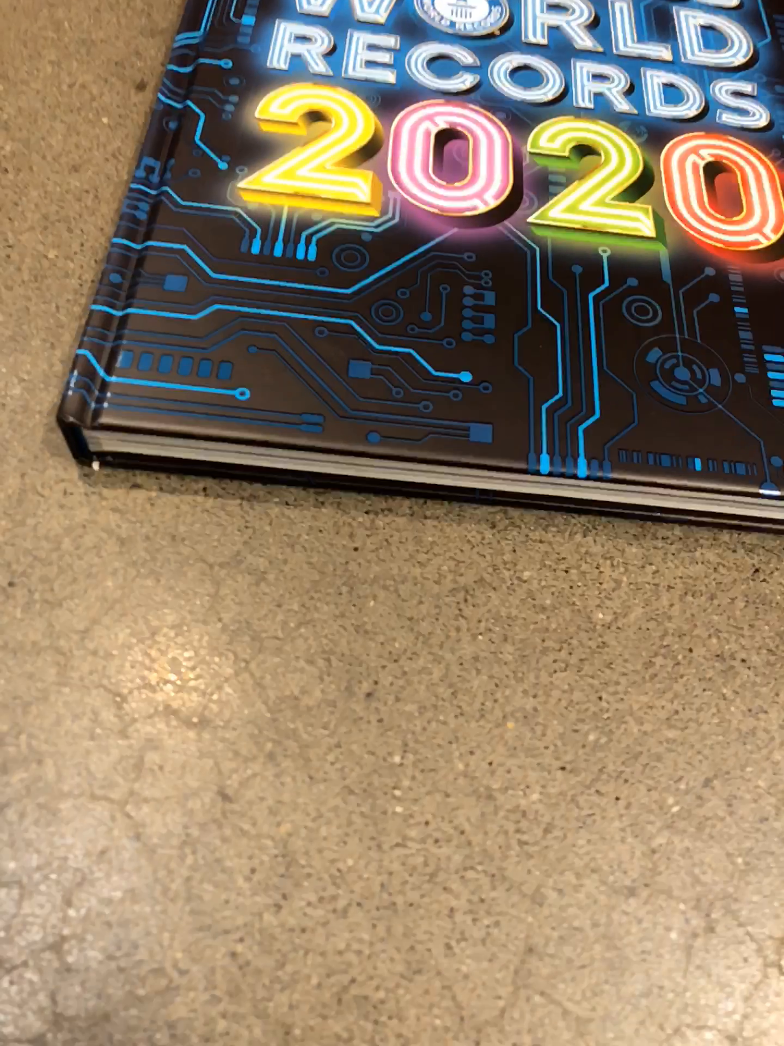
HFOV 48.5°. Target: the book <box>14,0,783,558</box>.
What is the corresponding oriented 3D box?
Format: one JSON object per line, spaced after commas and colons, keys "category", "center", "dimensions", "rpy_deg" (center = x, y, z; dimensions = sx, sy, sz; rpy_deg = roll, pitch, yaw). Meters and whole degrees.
{"category": "book", "center": [0.037, -0.145, 0.305], "dimensions": [0.240, 0.030, 0.312], "rpy_deg": [6, 60, -3]}
